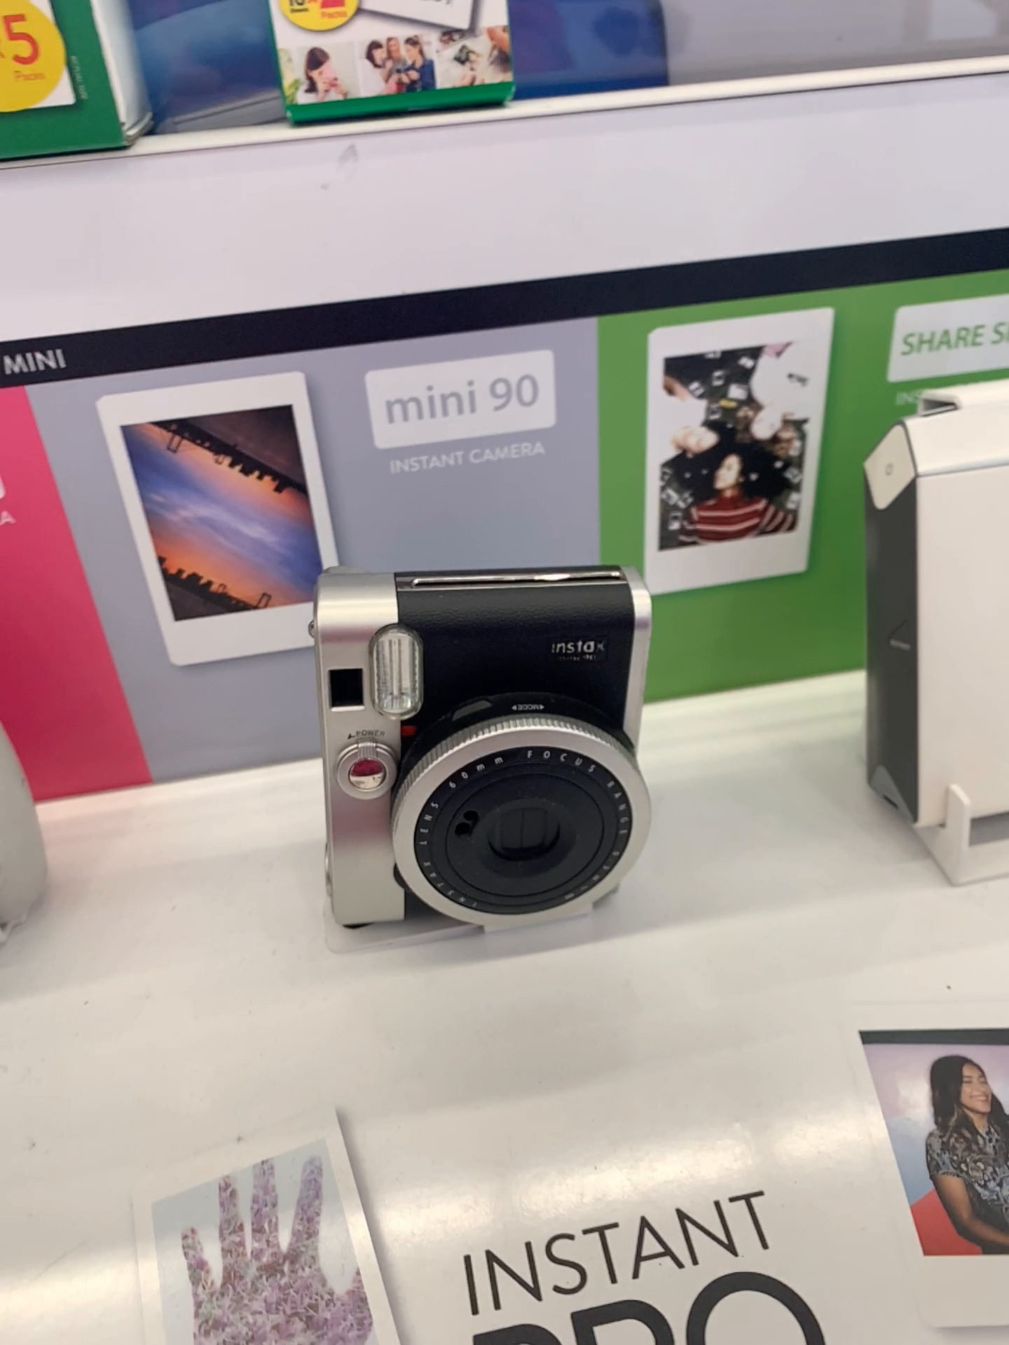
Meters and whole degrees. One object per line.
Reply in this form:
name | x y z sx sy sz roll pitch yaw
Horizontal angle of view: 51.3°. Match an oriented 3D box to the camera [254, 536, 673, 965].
camera | -0.012 0.023 0.301 0.100 0.109 0.050 -3 34 -5
